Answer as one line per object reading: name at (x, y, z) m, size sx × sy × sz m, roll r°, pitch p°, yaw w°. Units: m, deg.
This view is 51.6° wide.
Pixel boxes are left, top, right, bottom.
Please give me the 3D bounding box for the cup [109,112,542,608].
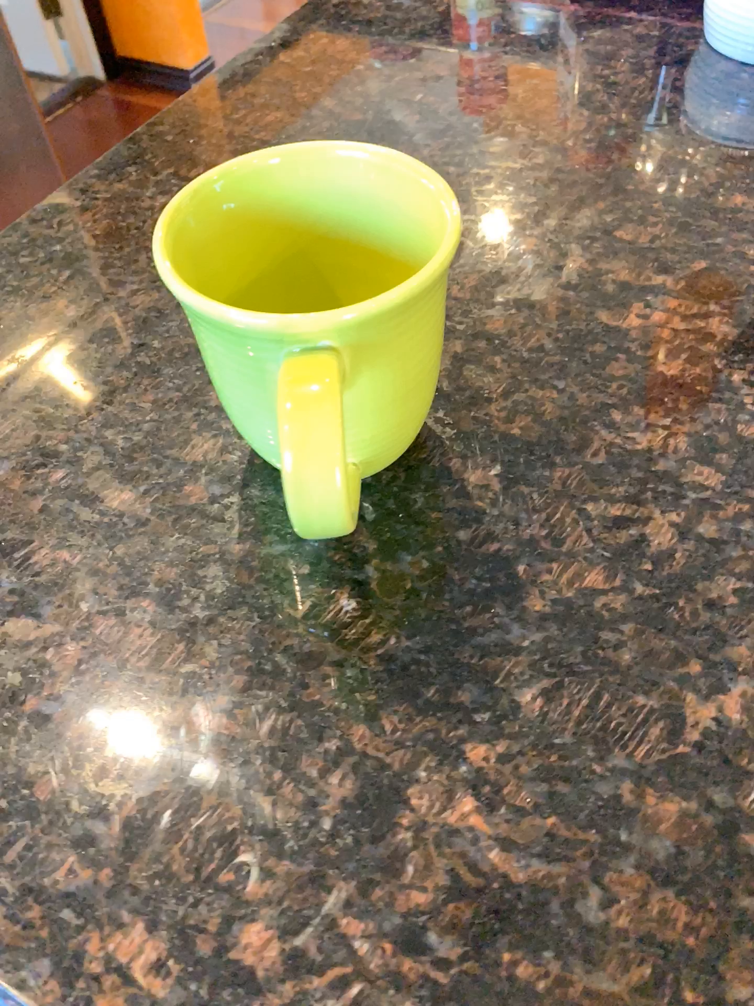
cup at (-0.019, -0.055, 0.274) m, size 0.110 × 0.080 × 0.151 m, roll -7°, pitch 52°, yaw -1°
